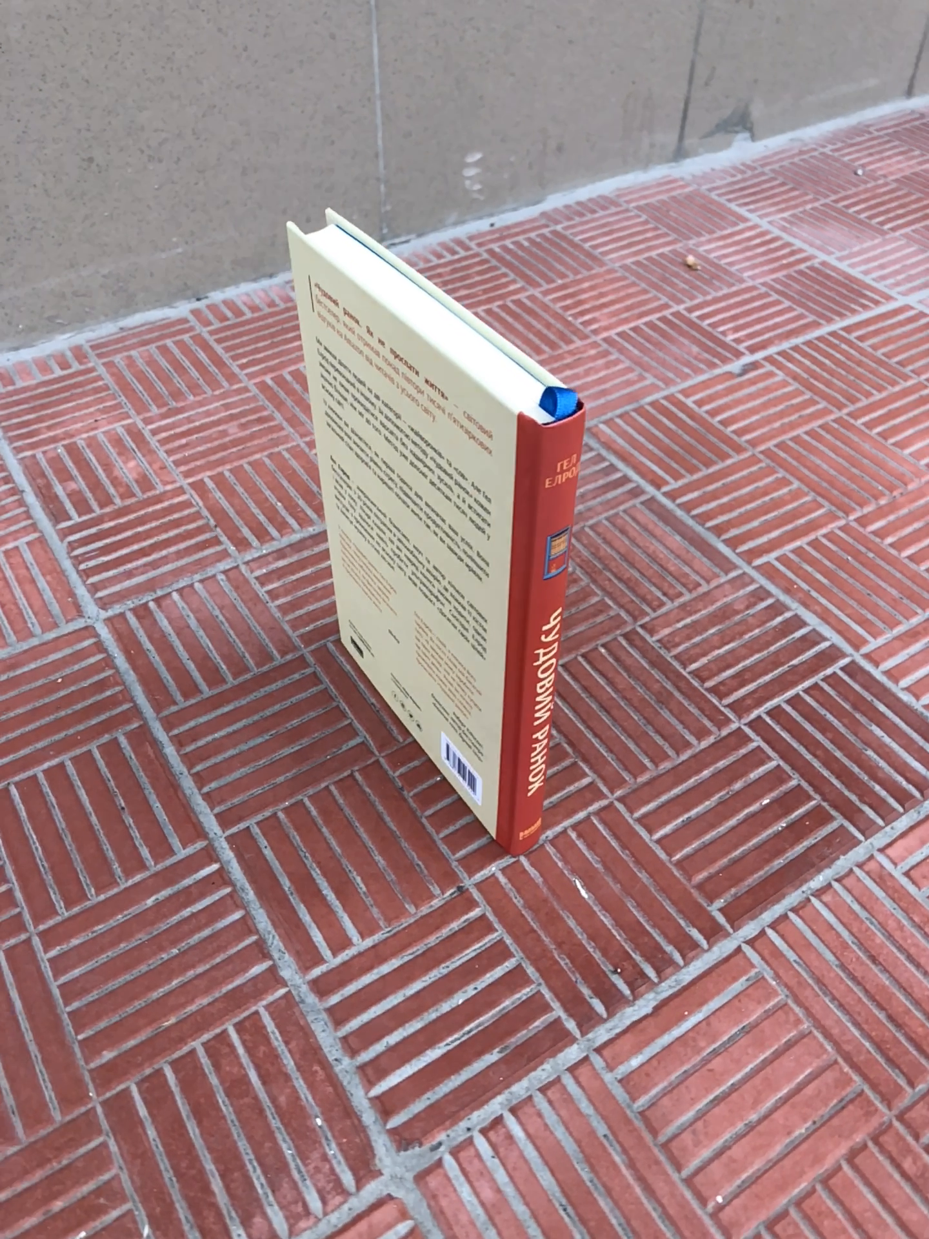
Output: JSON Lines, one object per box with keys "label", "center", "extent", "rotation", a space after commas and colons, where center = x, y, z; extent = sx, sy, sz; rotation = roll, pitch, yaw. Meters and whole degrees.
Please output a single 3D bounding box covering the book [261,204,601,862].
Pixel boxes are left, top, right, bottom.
{"label": "book", "center": [-0.016, -0.024, 0.368], "extent": [0.025, 0.196, 0.145], "rotation": [-26, 51, -23]}
